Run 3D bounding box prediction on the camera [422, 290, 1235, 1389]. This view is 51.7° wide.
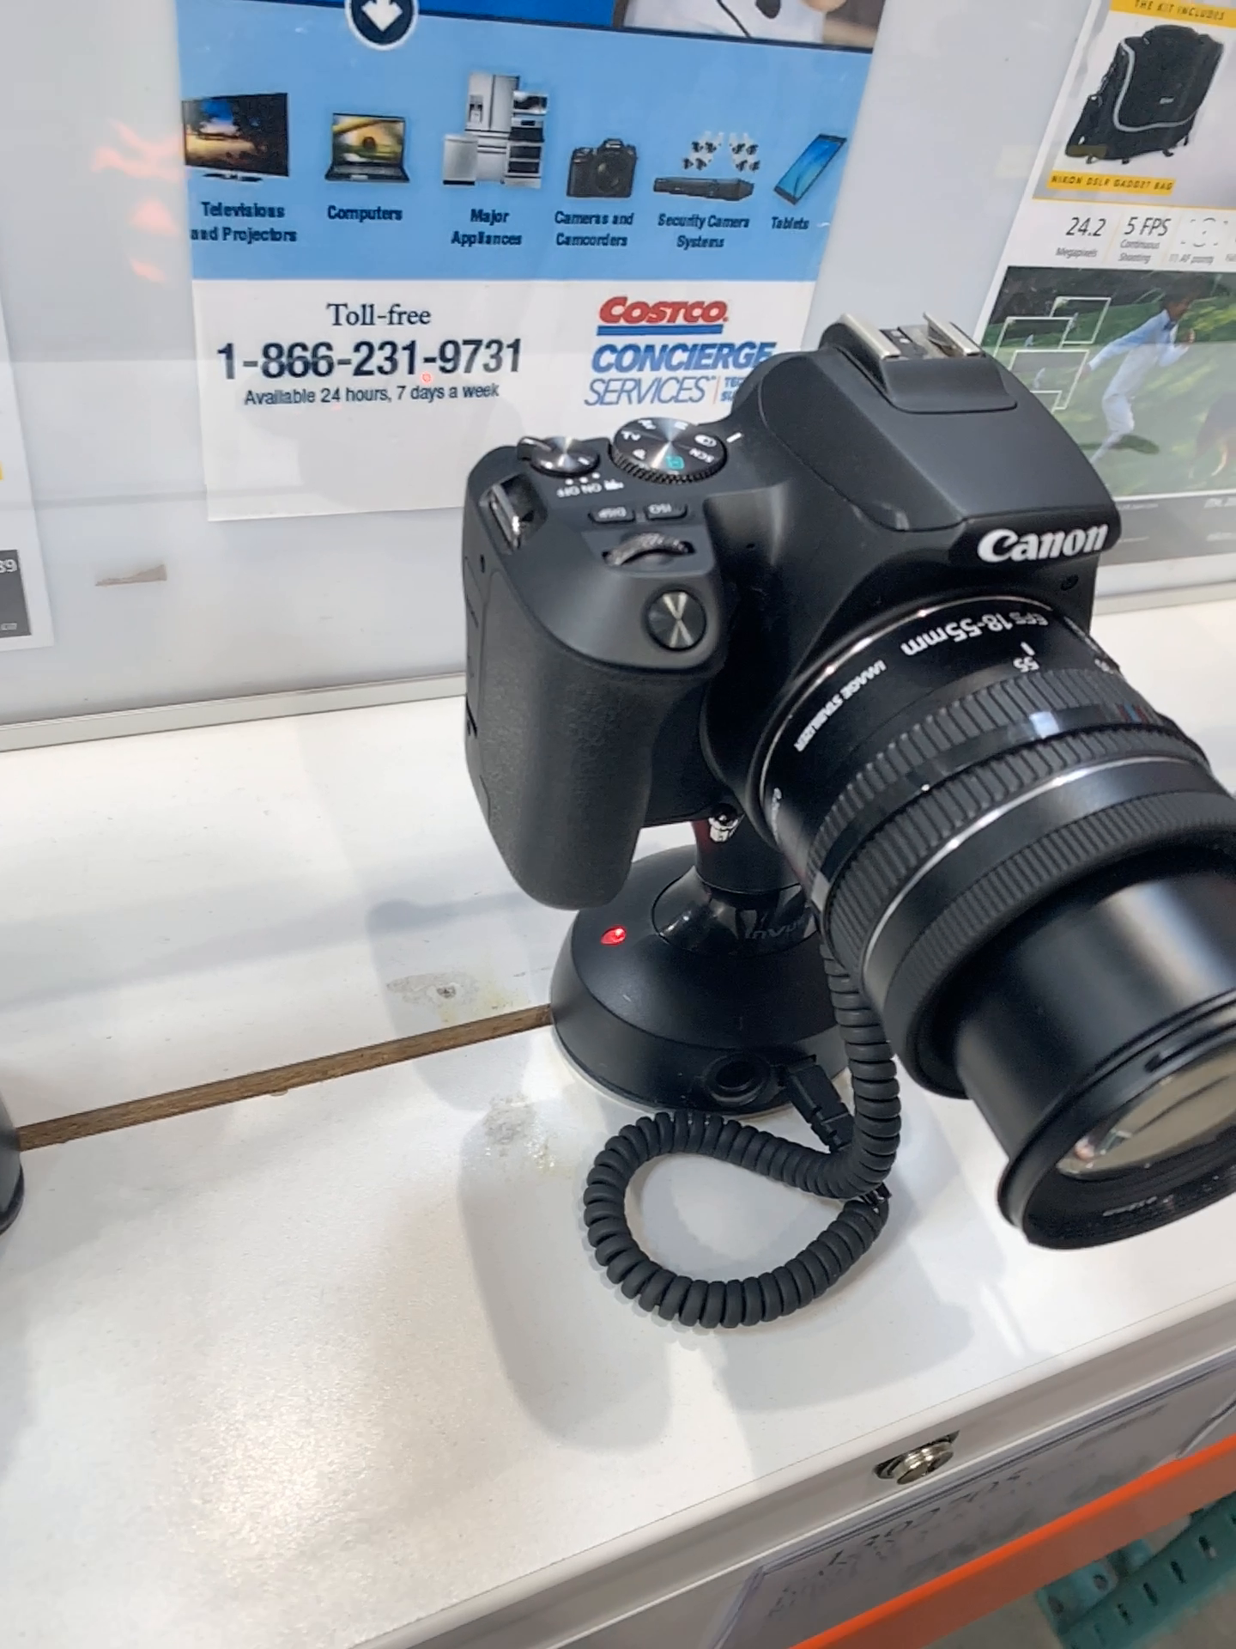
[{"bbox_3d":[0.050,-0.016,0.200,0.119,0.079,0.141,-11,46,-23],"label":"camera"}]
